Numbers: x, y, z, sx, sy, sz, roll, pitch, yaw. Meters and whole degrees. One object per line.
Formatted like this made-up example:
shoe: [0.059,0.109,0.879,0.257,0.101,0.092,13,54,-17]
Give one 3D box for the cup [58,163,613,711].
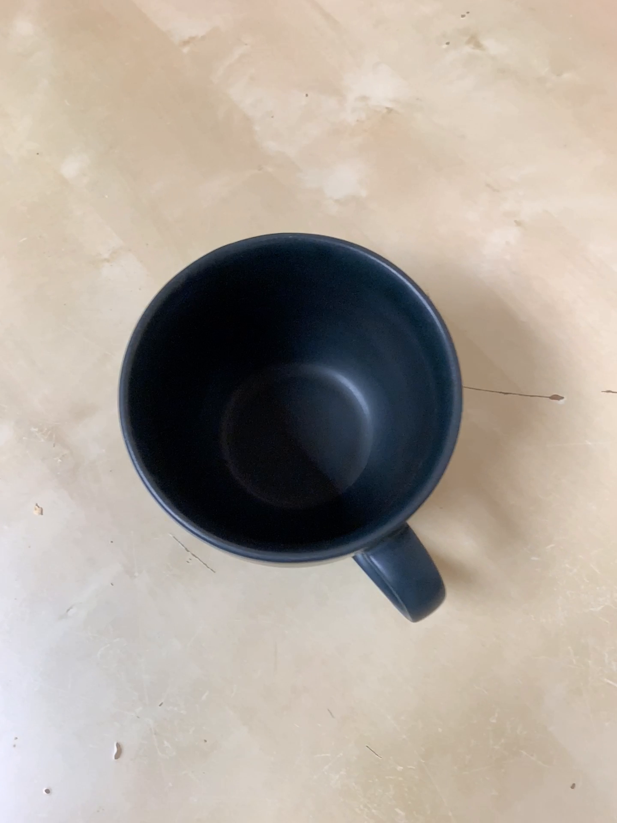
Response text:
cup: [0.008,0.007,0.268,0.135,0.068,0.158,-38,77,-10]
